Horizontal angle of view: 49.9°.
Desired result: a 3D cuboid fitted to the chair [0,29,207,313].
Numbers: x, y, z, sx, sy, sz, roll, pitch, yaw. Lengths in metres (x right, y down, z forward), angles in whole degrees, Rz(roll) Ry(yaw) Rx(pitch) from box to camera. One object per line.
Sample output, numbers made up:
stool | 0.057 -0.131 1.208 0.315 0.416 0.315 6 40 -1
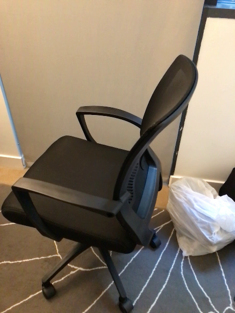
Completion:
chair | -0.129 0.079 1.165 0.790 0.992 0.837 12 39 13
